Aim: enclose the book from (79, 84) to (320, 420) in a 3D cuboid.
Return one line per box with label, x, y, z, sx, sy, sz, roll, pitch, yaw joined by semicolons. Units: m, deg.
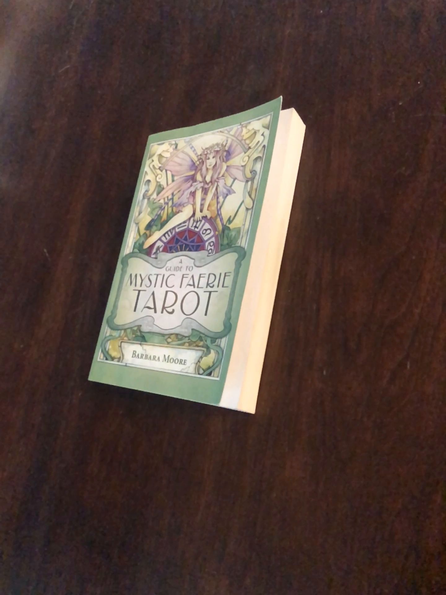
book;-0.018;-0.033;0.347;0.140;0.032;0.208;2;76;36
